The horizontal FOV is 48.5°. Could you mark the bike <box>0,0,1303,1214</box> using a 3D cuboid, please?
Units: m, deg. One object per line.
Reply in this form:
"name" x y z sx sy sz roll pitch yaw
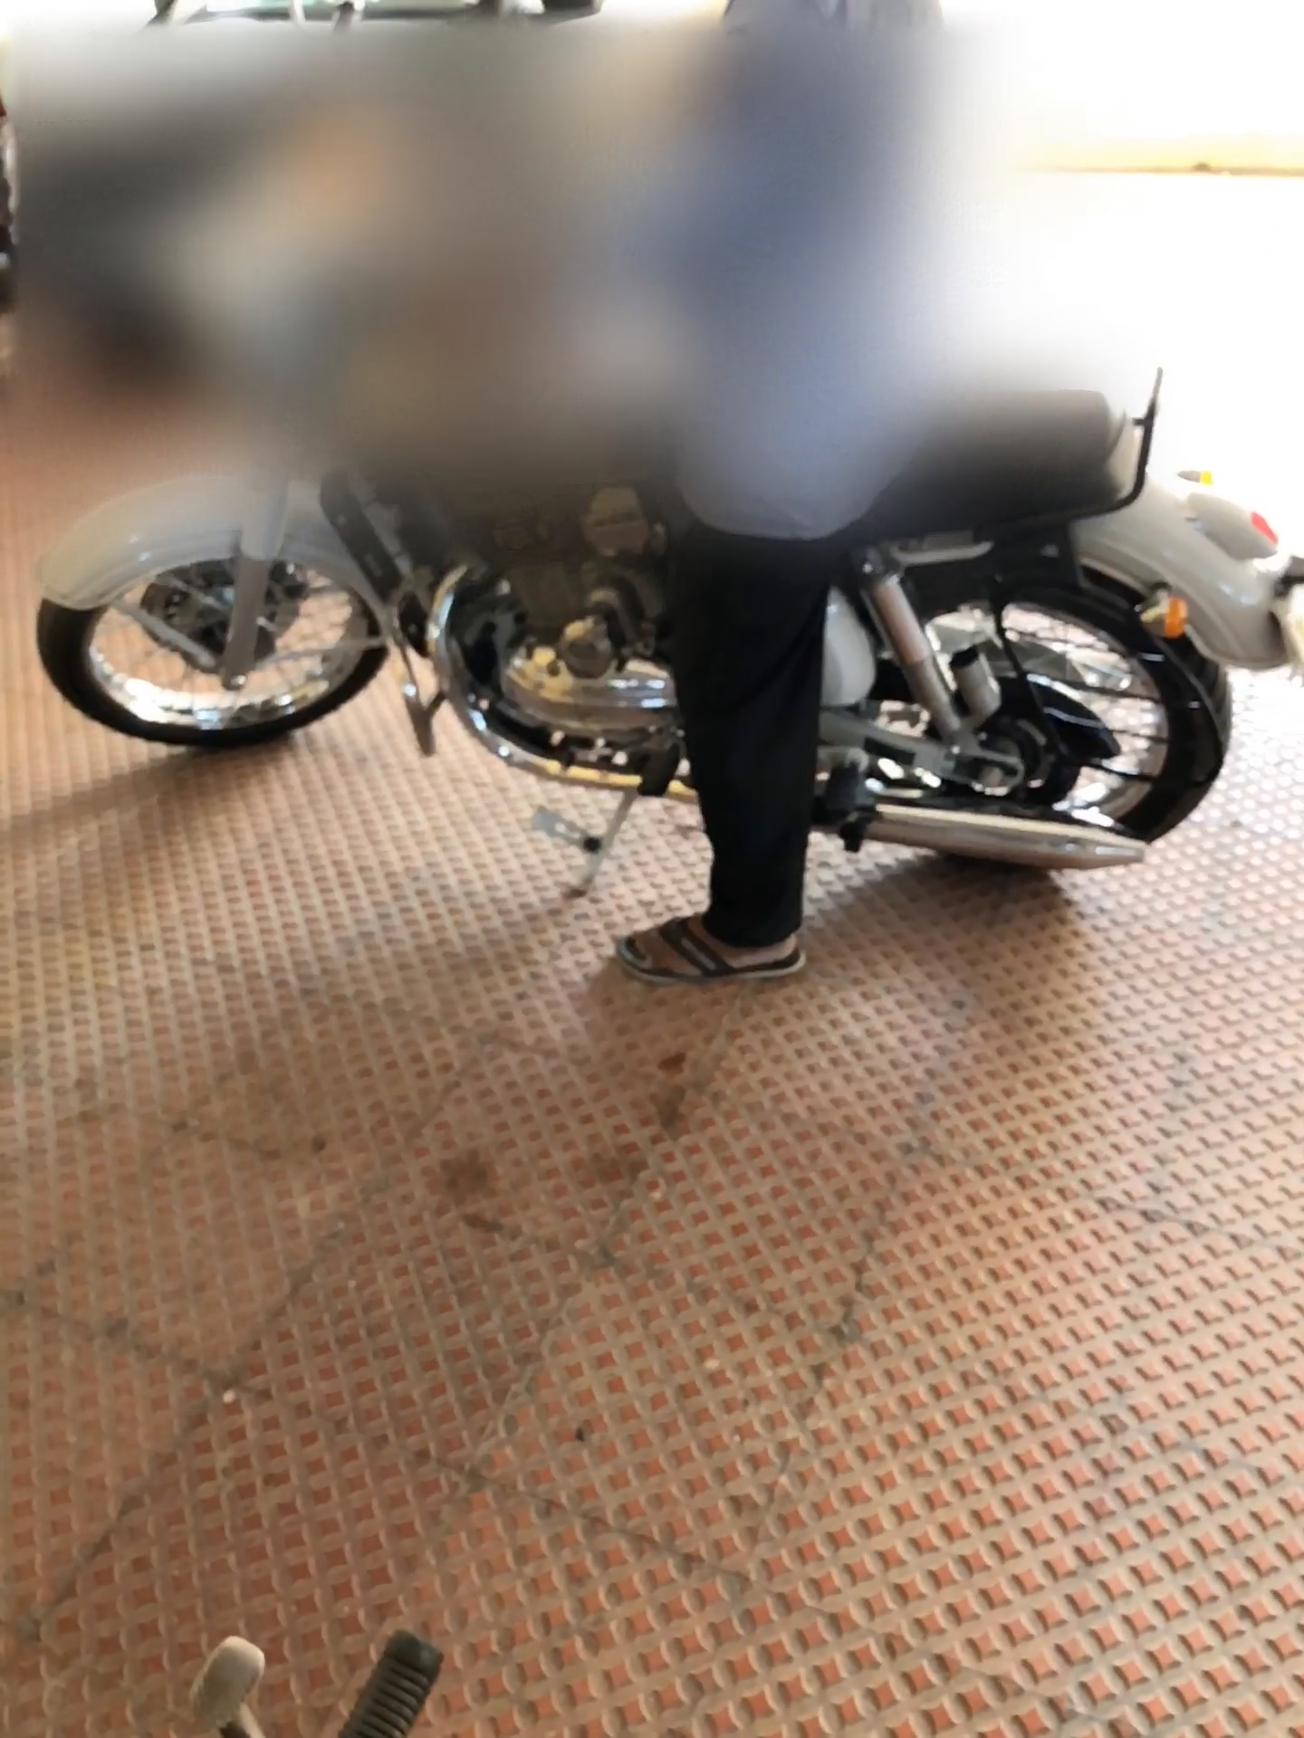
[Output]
"bike" -0.171 -0.423 1.942 1.897 1.233 0.849 7 35 12
